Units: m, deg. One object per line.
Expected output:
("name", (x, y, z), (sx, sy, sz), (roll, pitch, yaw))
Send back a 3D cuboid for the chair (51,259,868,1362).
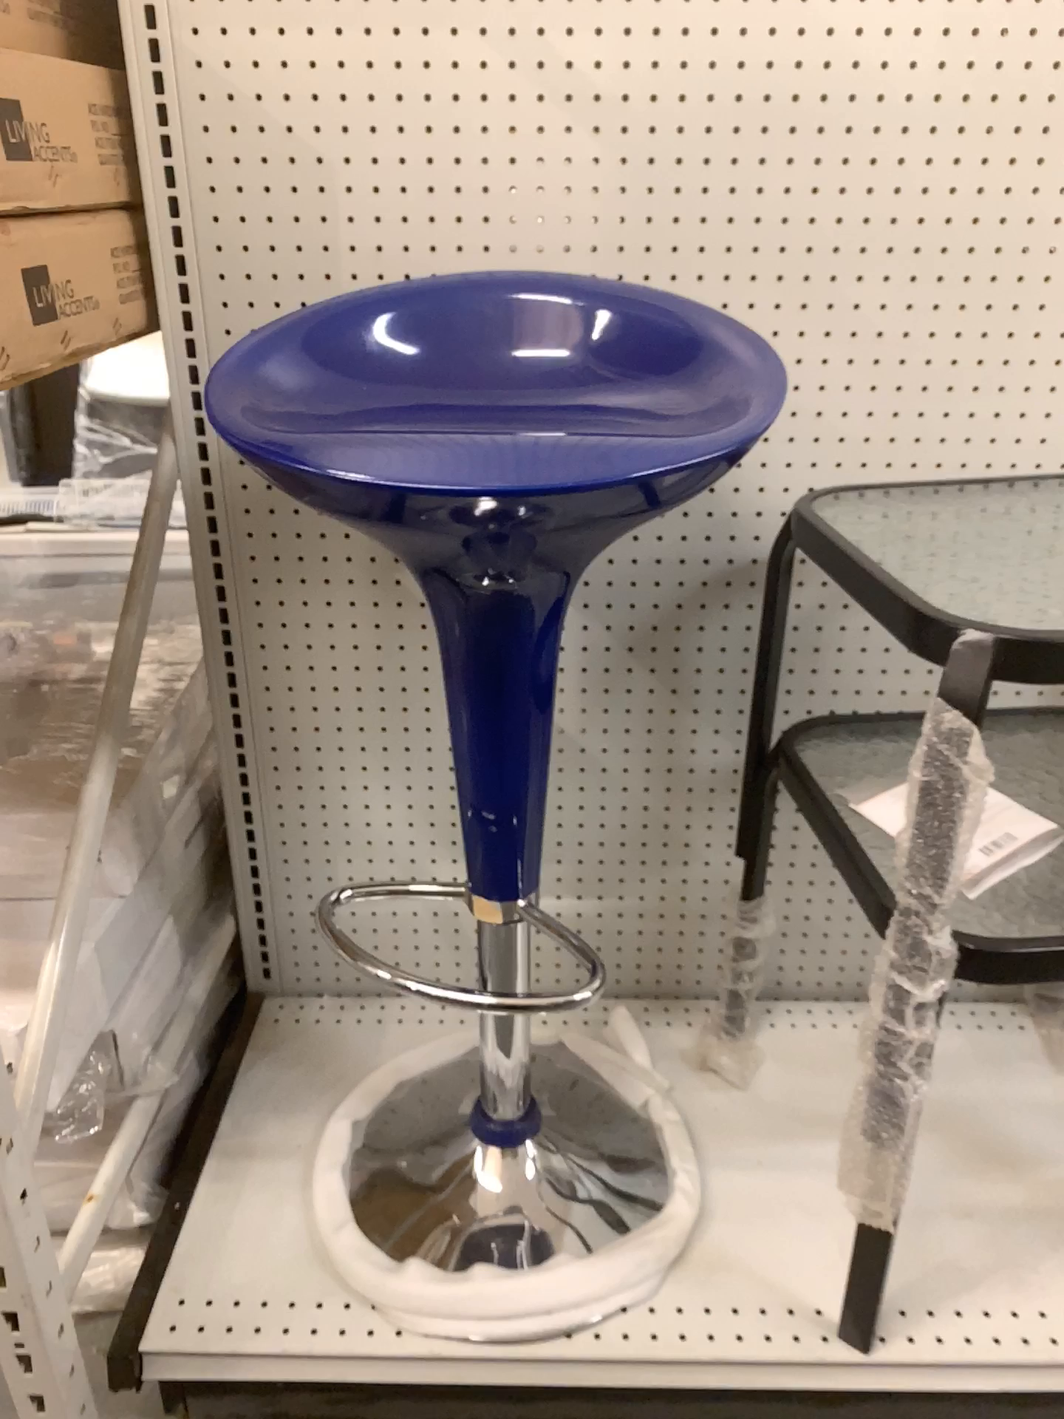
("chair", (-0.037, 0.081, 0.948), (0.434, 0.853, 0.419), (0, 25, 0))
